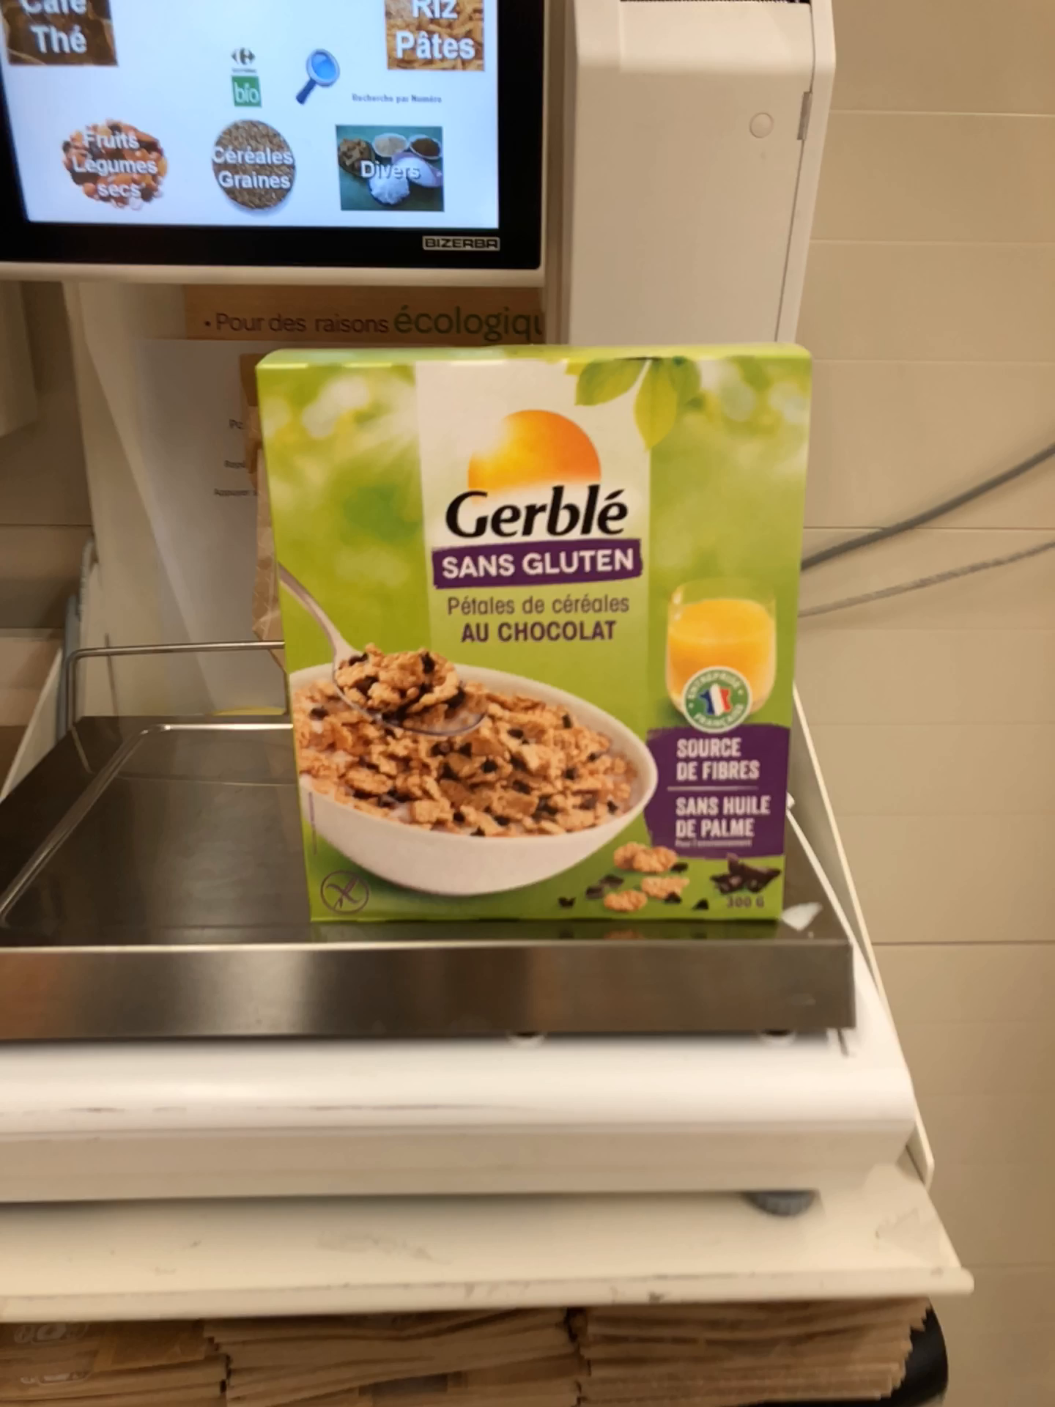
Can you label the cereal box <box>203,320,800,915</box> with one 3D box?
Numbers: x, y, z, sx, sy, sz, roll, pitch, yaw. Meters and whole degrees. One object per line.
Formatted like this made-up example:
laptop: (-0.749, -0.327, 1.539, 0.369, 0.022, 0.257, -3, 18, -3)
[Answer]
cereal box: (-0.005, -0.030, 0.450, 0.200, 0.219, 0.060, -1, 20, 3)
